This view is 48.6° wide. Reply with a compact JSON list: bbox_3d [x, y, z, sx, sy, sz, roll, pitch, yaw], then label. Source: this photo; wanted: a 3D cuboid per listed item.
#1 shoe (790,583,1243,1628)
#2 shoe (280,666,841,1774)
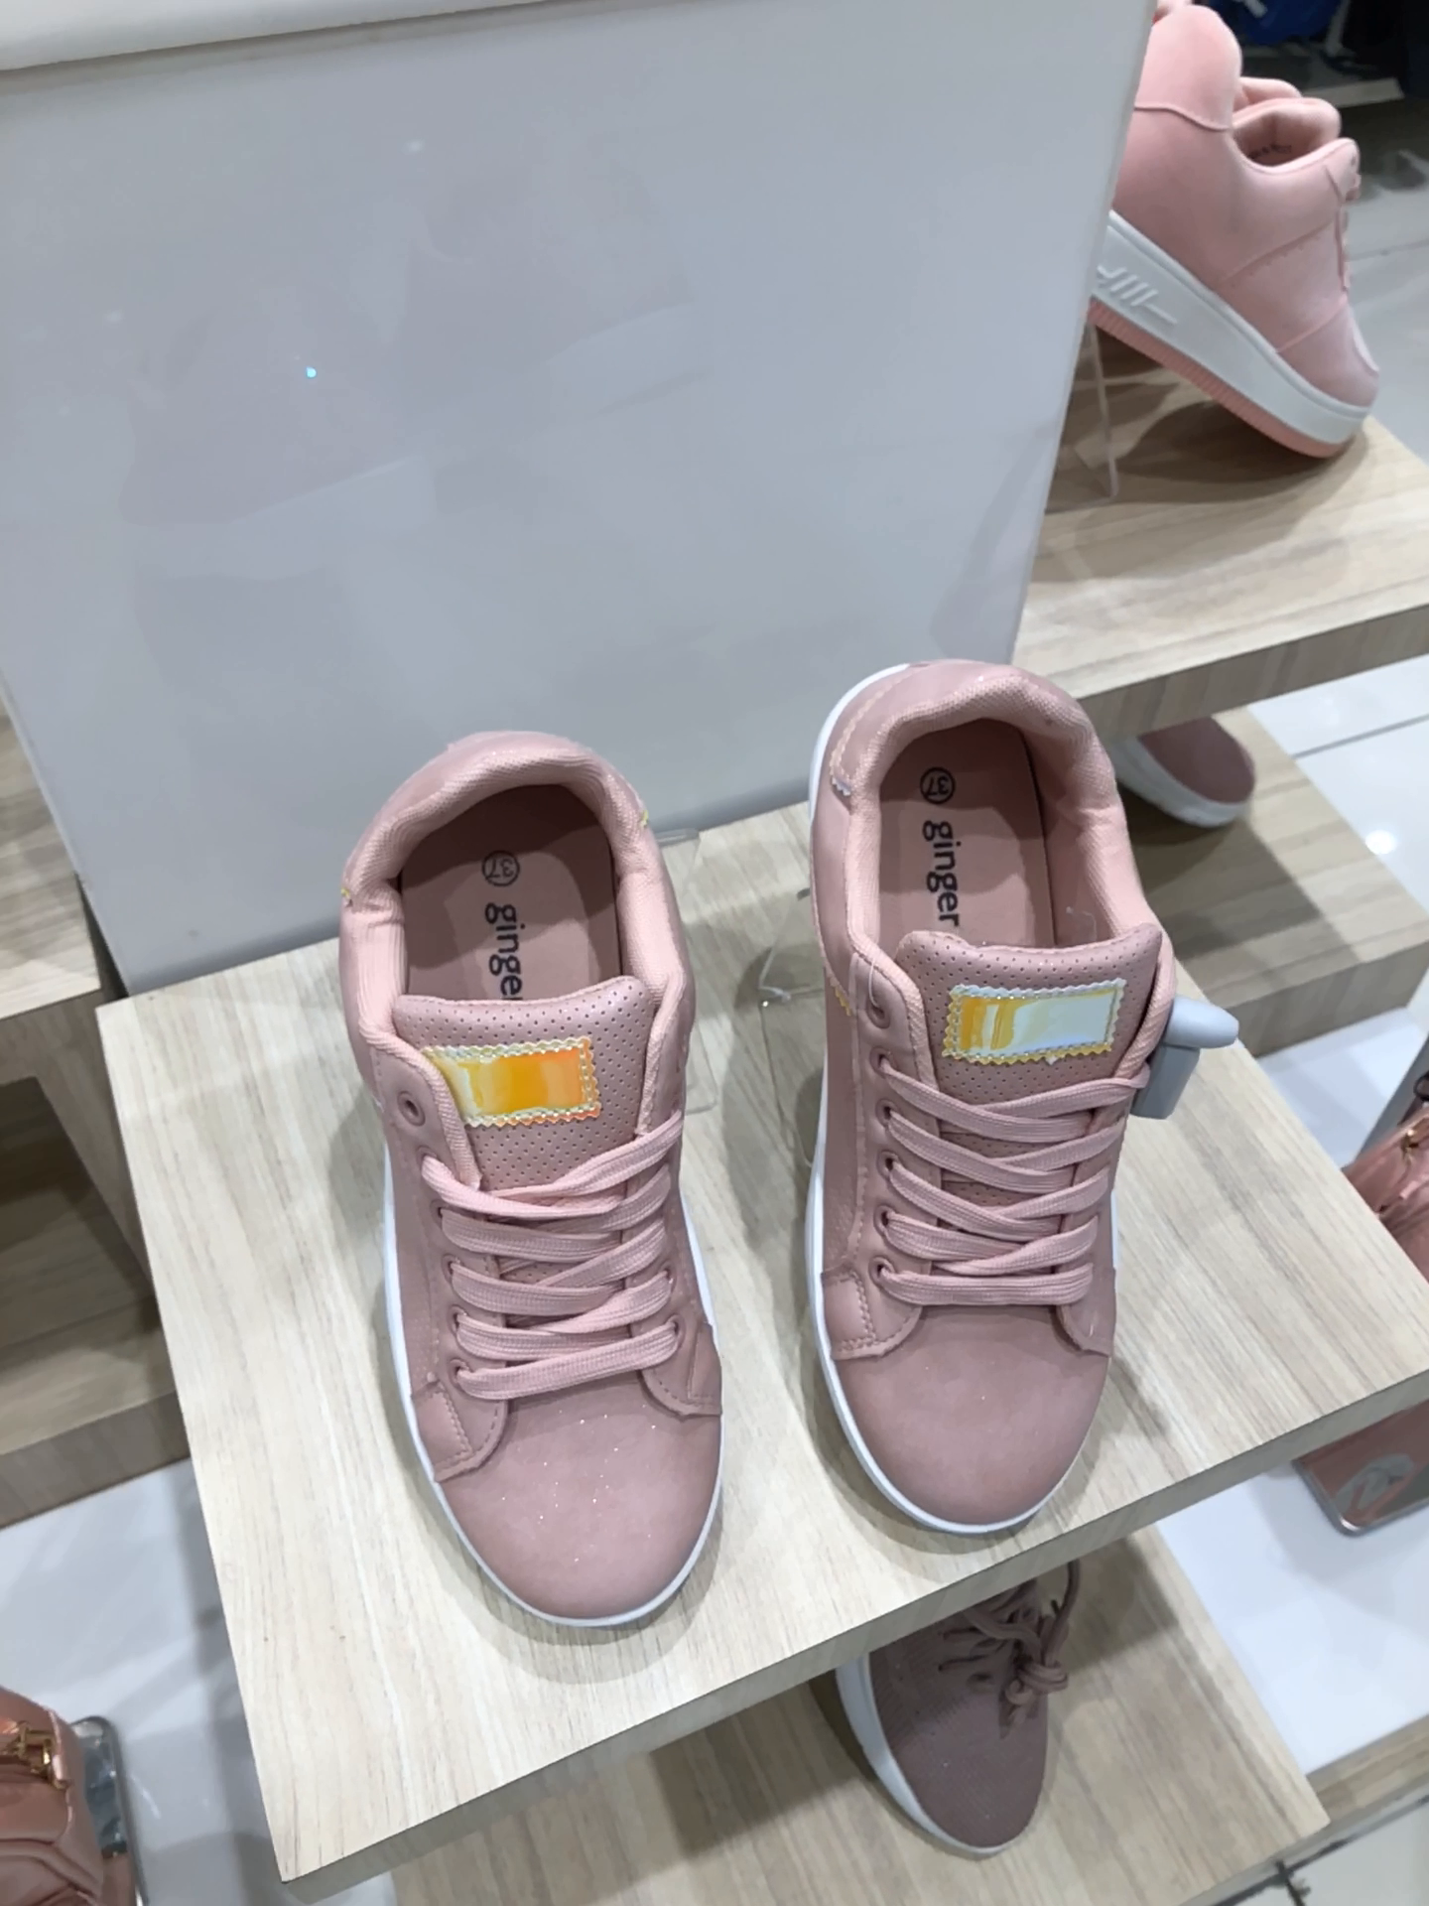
[{"bbox_3d":[0.078,0.038,0.448,0.099,0.094,0.261,0,87,-5],"label":"shoe"},{"bbox_3d":[-0.041,0.062,0.426,0.103,0.094,0.252,-7,90,-7],"label":"shoe"}]
